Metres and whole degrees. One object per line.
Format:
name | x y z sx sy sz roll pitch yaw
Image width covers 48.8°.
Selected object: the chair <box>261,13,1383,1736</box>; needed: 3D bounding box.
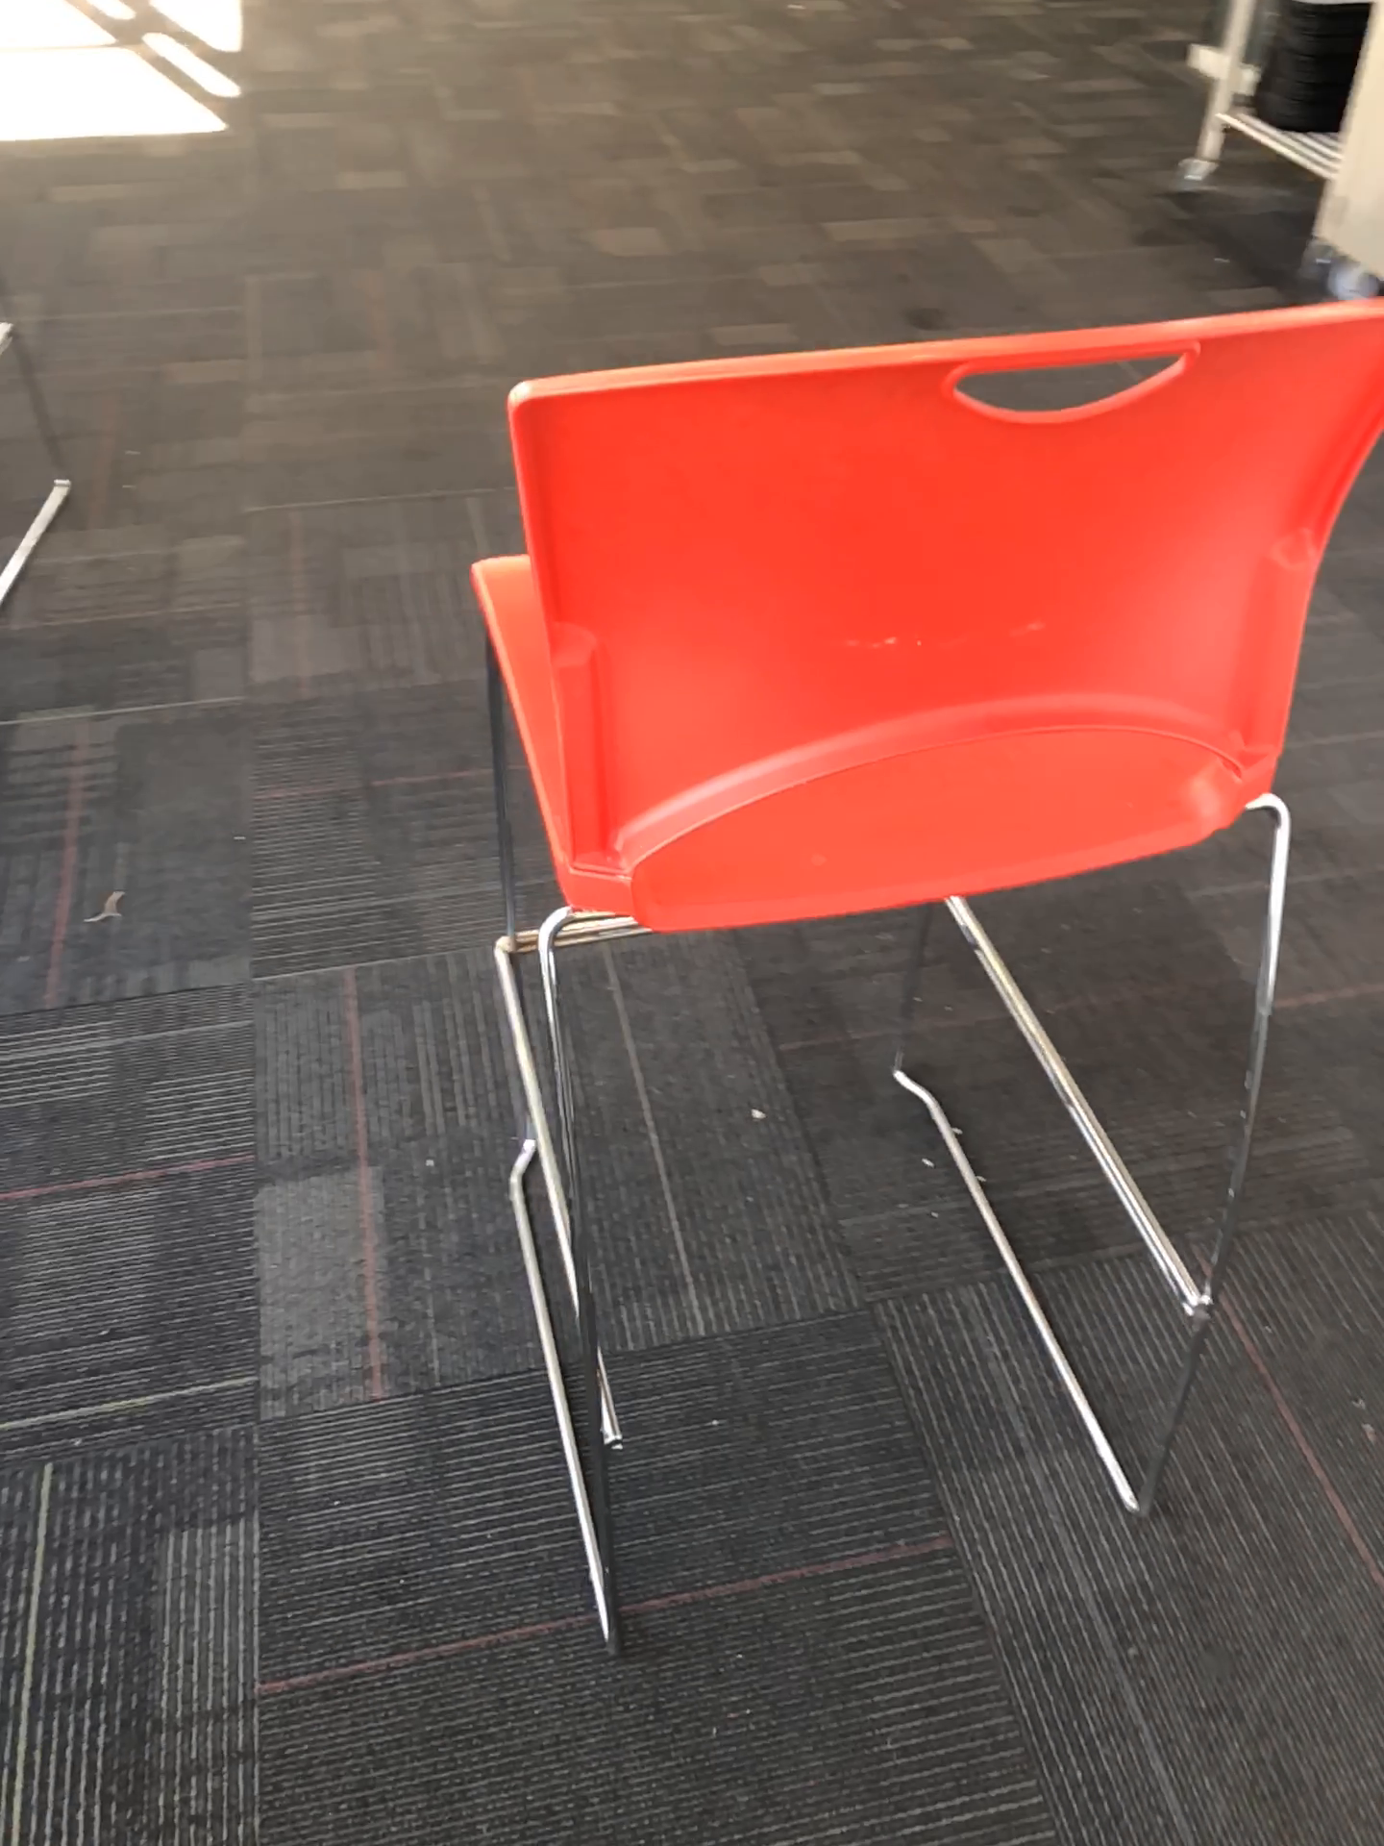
chair | 0.098 -0.023 1.135 0.590 0.995 0.663 -11 43 -14
